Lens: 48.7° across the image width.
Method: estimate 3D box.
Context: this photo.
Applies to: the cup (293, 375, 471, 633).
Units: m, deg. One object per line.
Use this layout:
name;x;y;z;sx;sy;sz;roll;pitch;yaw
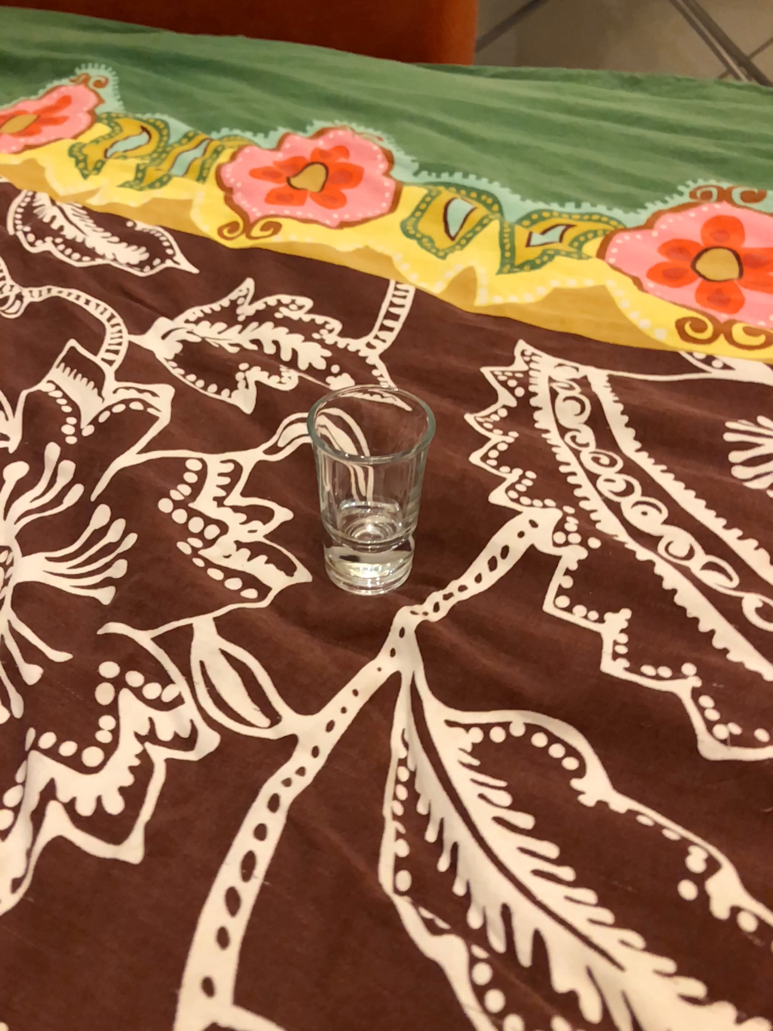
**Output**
cup;-0.004;-0.004;0.301;0.042;0.069;0.045;3;39;-2
